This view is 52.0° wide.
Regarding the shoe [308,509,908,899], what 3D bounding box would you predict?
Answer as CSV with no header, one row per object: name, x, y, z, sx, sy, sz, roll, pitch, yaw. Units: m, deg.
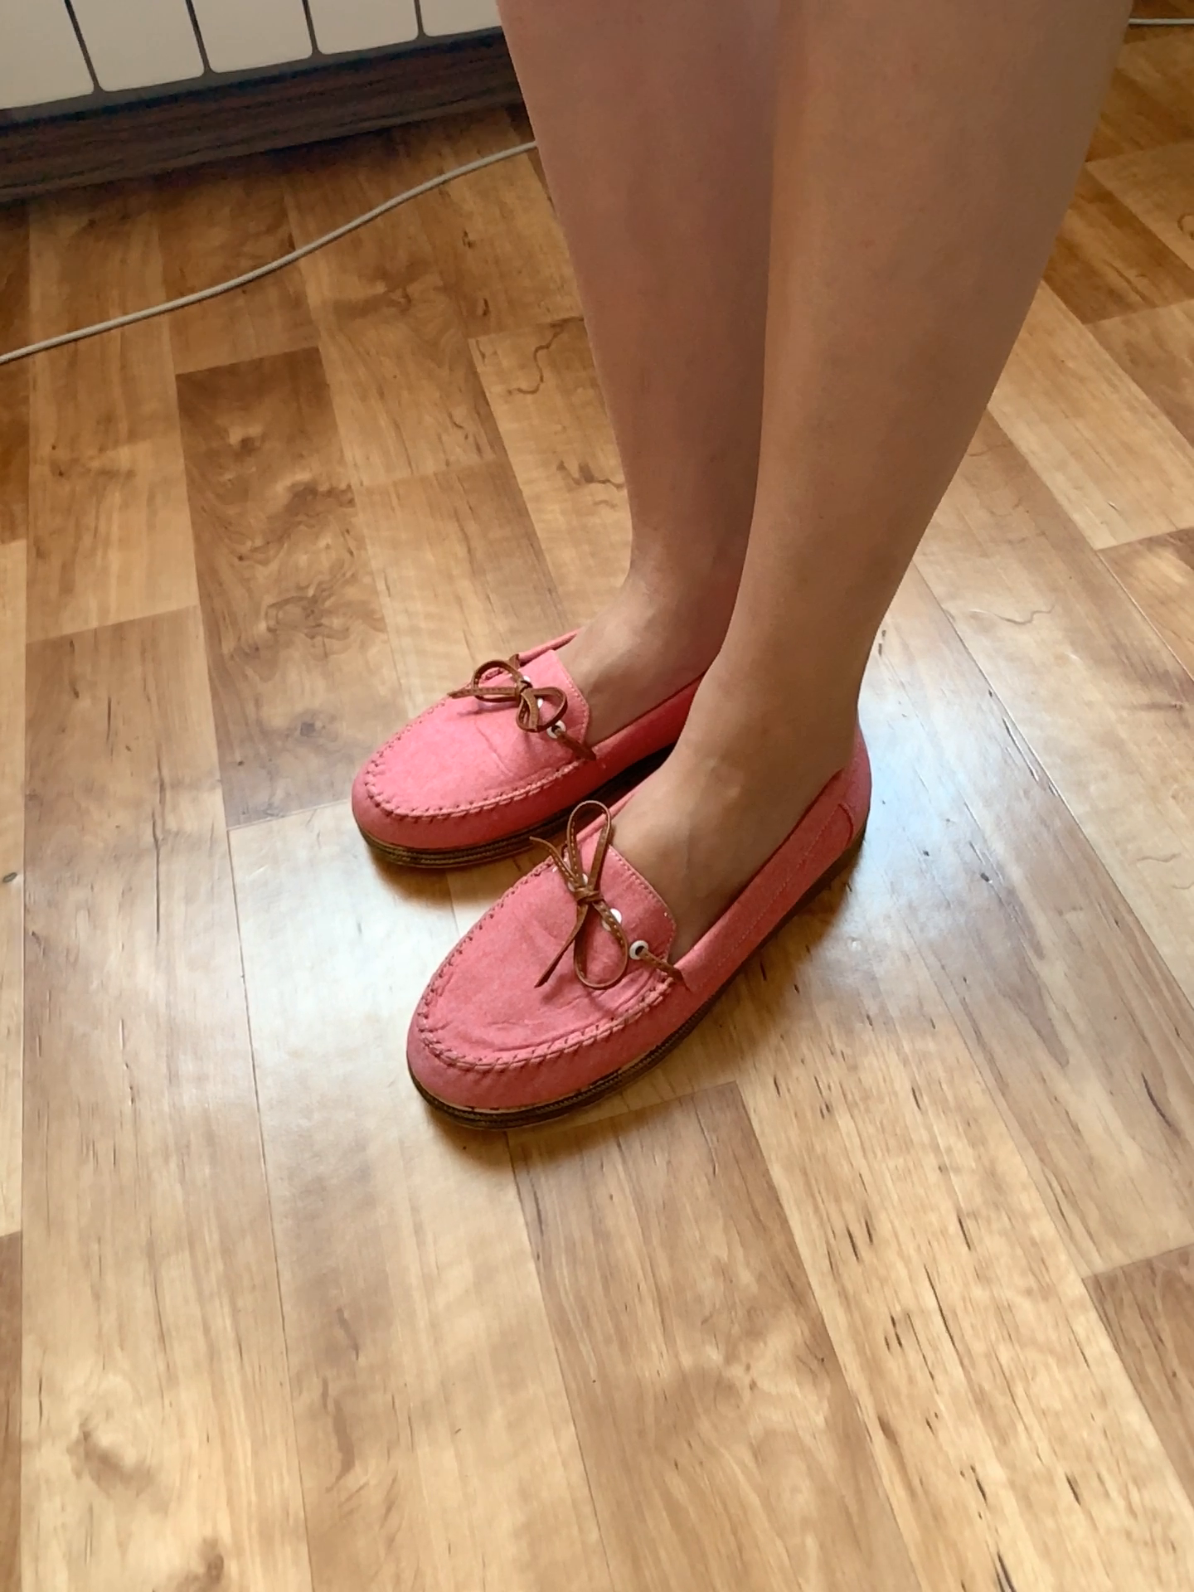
shoe,0.005,-0.049,0.592,0.260,0.060,0.100,-19,54,-10

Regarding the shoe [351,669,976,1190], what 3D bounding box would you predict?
shoe,0.032,0.049,0.523,0.250,0.060,0.090,-31,57,-18
